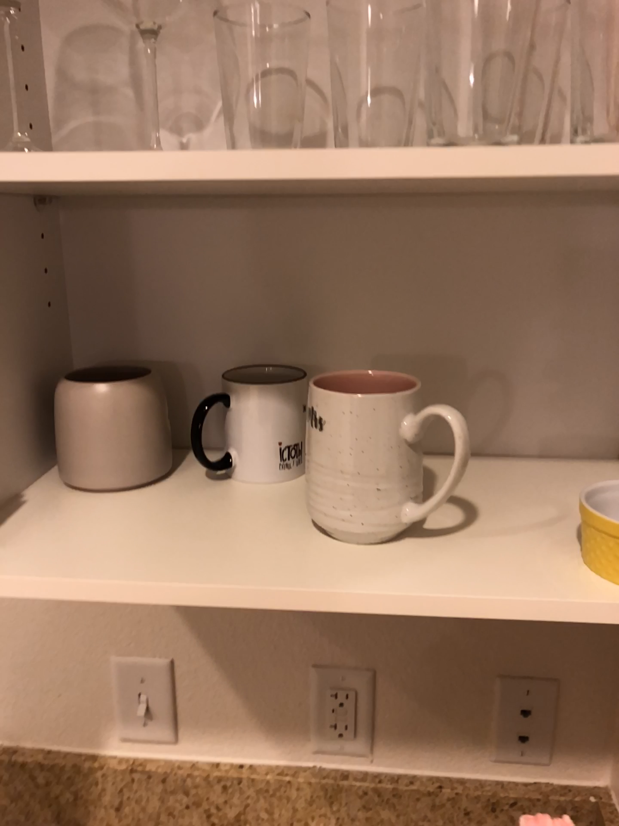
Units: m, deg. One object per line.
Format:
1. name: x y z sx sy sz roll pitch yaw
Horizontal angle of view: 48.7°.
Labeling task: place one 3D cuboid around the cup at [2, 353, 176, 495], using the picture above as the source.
1. cup: -0.193 0.004 0.632 0.110 0.090 0.151 -1 15 -2

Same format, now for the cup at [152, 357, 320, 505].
1. cup: -0.063 0.009 0.587 0.110 0.090 0.090 -11 18 -35

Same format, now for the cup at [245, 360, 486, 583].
1. cup: 0.037 0.031 0.487 0.140 0.110 0.090 12 20 39
